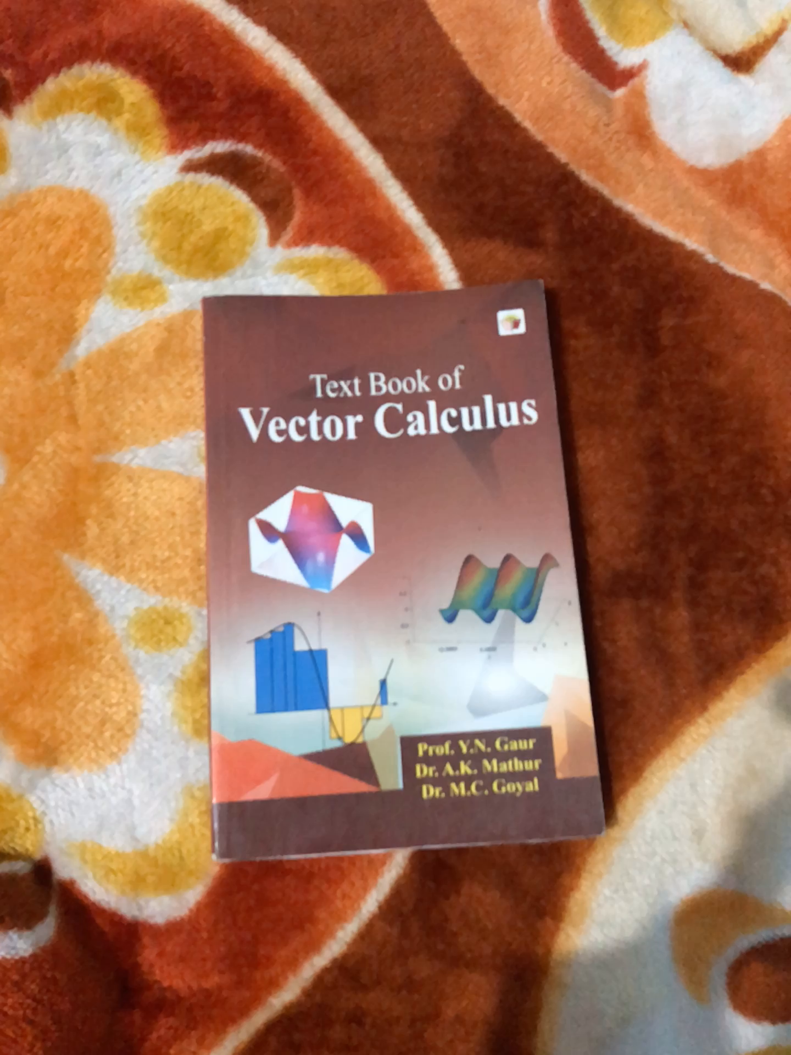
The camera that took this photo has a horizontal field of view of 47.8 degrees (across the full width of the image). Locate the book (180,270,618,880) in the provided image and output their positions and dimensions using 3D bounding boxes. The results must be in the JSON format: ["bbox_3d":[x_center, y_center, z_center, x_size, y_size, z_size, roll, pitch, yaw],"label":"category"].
[{"bbox_3d":[-0.004,0.010,0.326,0.140,0.020,0.210,-4,77,-2],"label":"book"}]
